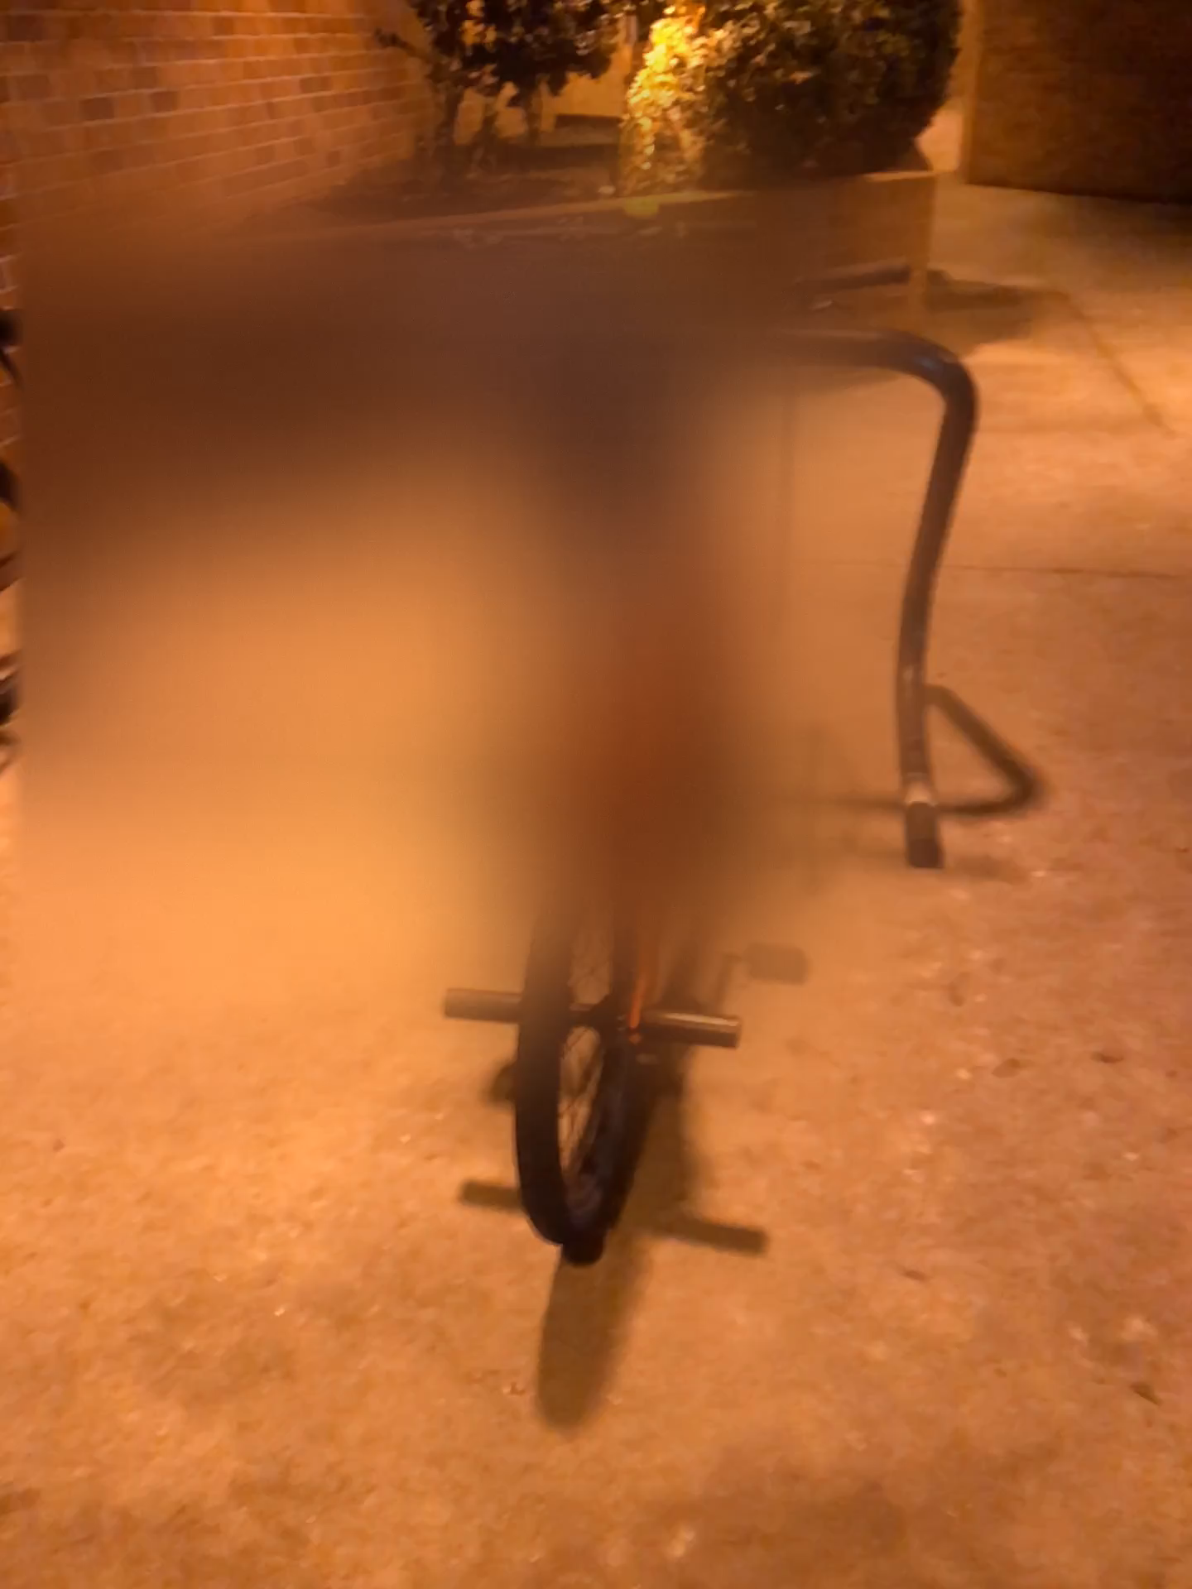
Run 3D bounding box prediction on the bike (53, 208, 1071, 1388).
[{"bbox_3d":[0.061,-0.161,1.705,0.744,0.927,1.297,3,32,8],"label":"bike"}]
